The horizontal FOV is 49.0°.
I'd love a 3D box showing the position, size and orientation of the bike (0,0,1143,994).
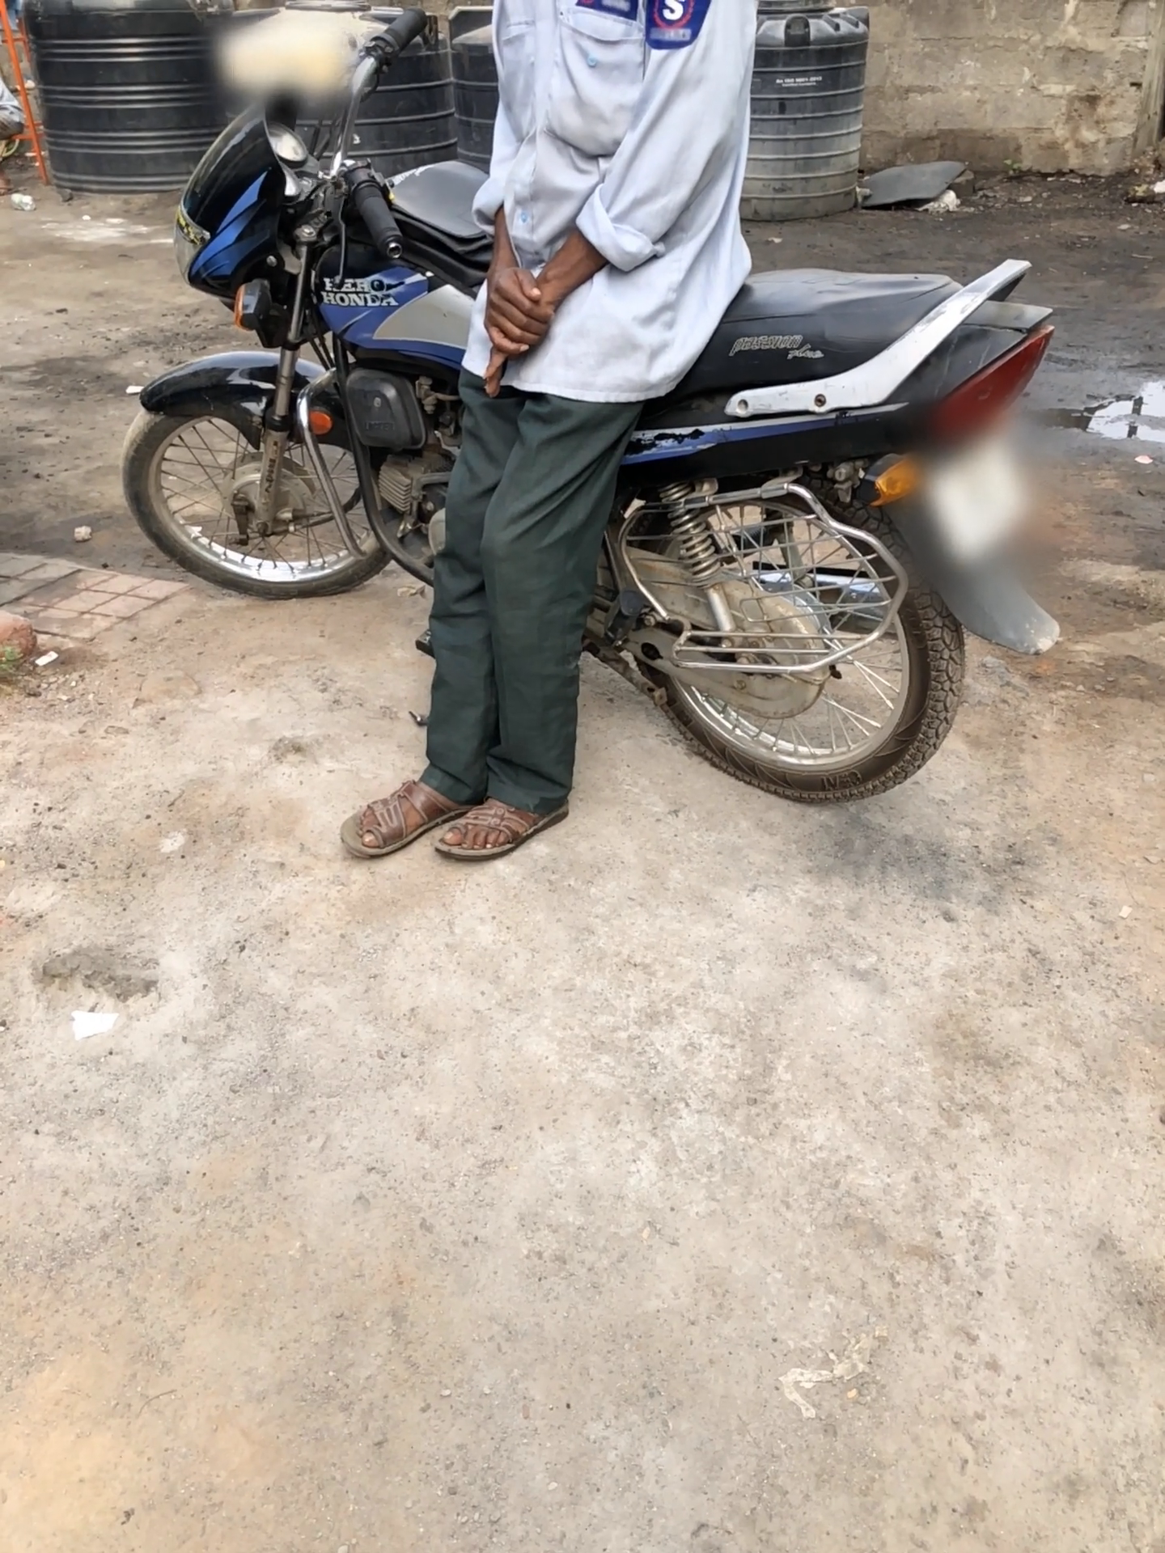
[{"bbox_3d":[-0.226,-0.627,2.153,1.800,1.154,0.789,19,38,28],"label":"bike"}]
